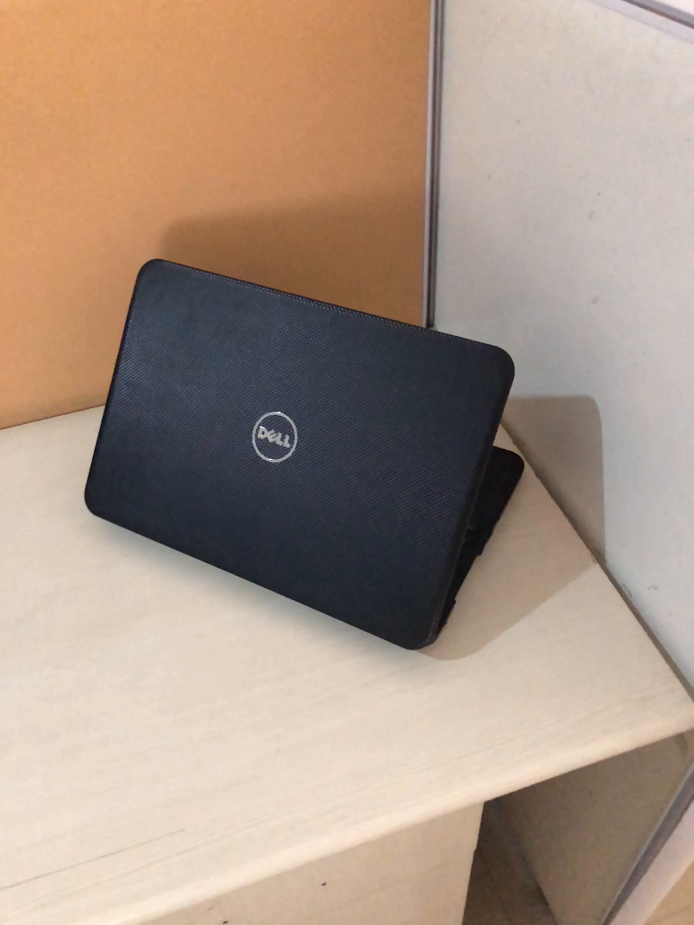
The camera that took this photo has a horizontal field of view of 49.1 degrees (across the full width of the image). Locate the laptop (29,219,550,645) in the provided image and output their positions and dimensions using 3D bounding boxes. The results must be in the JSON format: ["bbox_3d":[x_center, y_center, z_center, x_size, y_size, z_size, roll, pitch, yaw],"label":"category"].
[{"bbox_3d":[-0.035,-0.050,0.696,0.352,0.179,0.255,20,47,20],"label":"laptop"}]
